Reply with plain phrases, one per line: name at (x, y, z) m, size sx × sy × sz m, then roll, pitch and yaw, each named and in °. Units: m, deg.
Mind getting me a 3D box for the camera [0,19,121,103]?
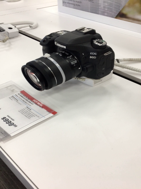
camera at (-0.023, -0.077, 0.376) m, size 0.148 × 0.095 × 0.149 m, roll -31°, pitch 50°, yaw -29°
